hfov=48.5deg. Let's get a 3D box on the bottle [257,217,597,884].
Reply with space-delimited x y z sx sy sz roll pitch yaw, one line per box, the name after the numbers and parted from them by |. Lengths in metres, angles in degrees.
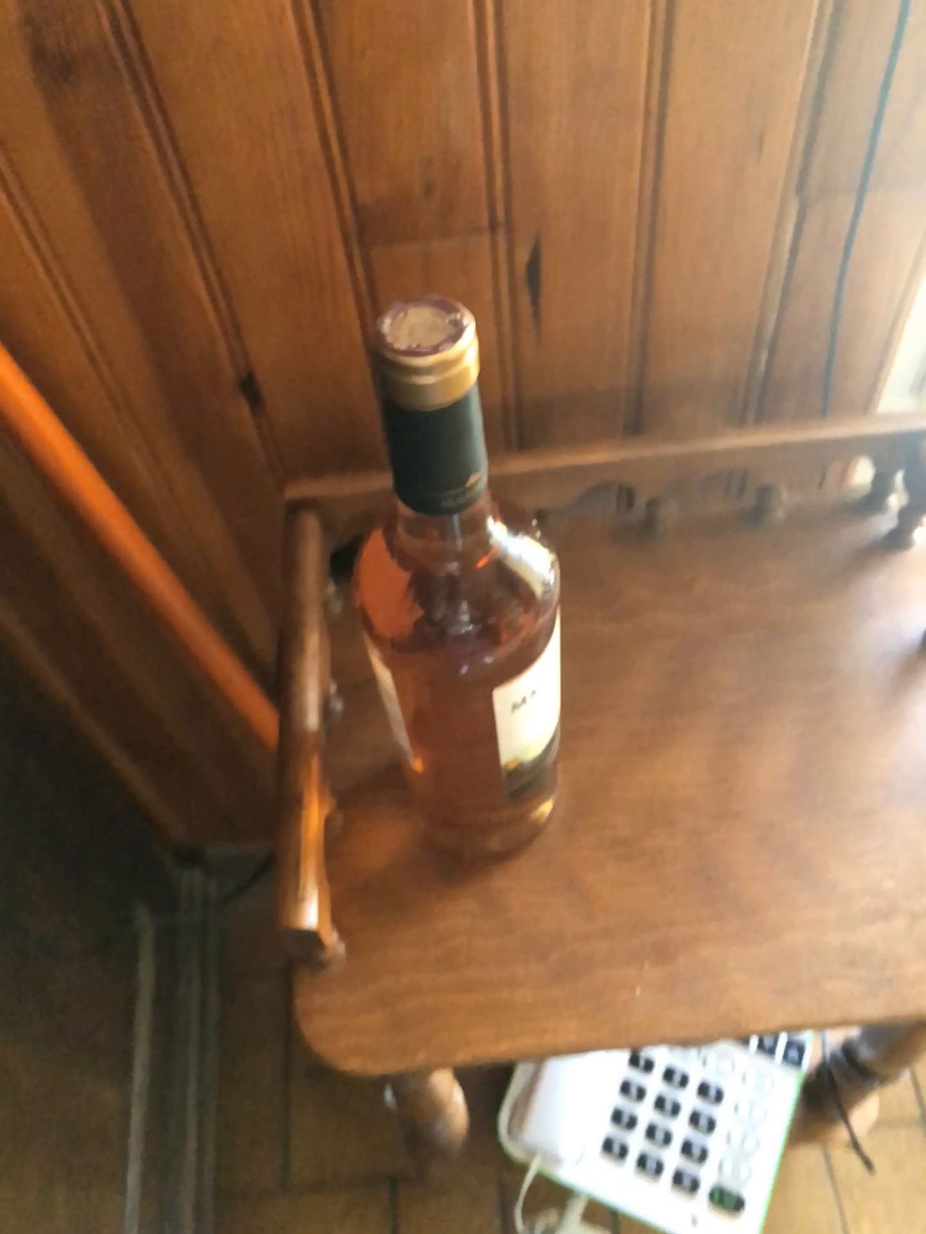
0.004 0.006 0.379 0.070 0.289 0.080 8 58 10 | bottle
